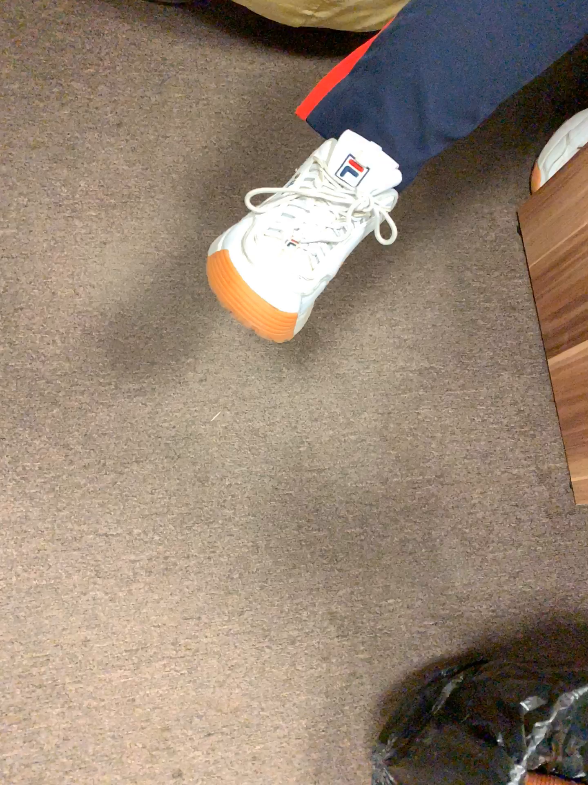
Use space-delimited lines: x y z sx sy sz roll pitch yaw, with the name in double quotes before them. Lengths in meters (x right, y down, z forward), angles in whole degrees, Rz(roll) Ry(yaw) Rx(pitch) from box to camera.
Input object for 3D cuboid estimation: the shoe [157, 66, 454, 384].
"shoe" 0.019 -0.150 0.519 0.130 0.130 0.230 40 48 -8
